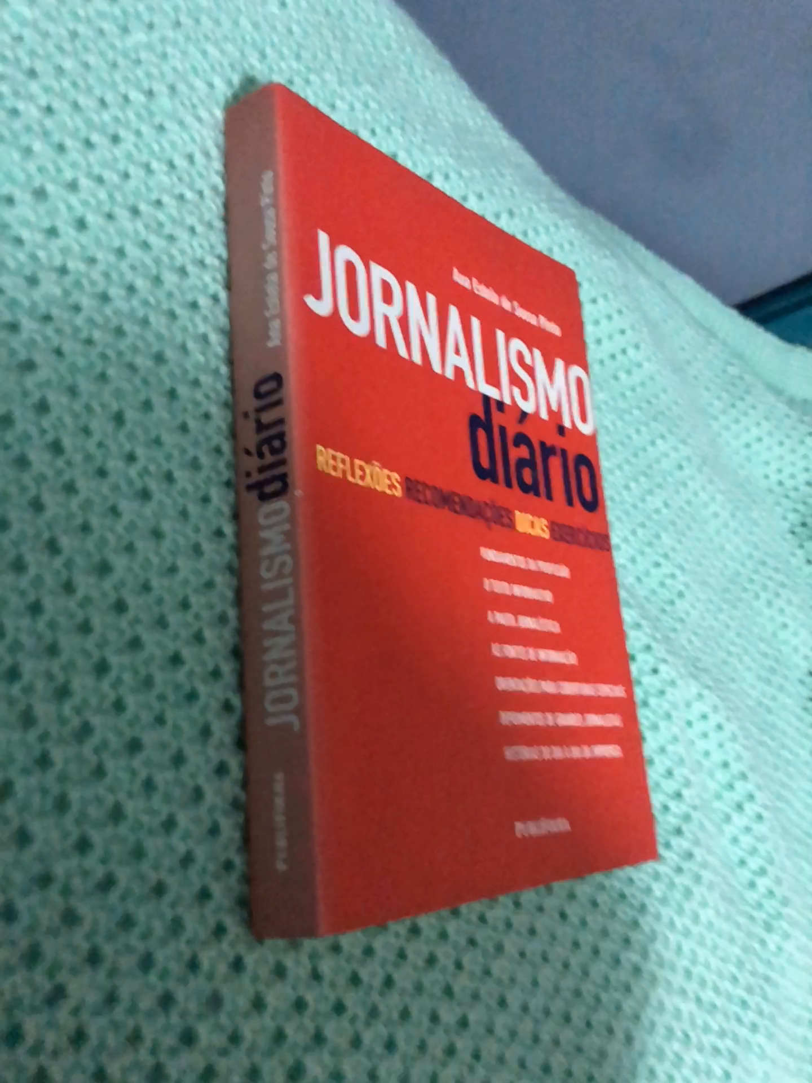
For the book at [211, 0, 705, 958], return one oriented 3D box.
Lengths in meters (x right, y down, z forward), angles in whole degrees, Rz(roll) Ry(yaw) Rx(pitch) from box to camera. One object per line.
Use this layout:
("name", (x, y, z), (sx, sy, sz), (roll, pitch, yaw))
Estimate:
("book", (0.019, -0.021, 0.281), (0.161, 0.030, 0.250), (12, 67, -43))
